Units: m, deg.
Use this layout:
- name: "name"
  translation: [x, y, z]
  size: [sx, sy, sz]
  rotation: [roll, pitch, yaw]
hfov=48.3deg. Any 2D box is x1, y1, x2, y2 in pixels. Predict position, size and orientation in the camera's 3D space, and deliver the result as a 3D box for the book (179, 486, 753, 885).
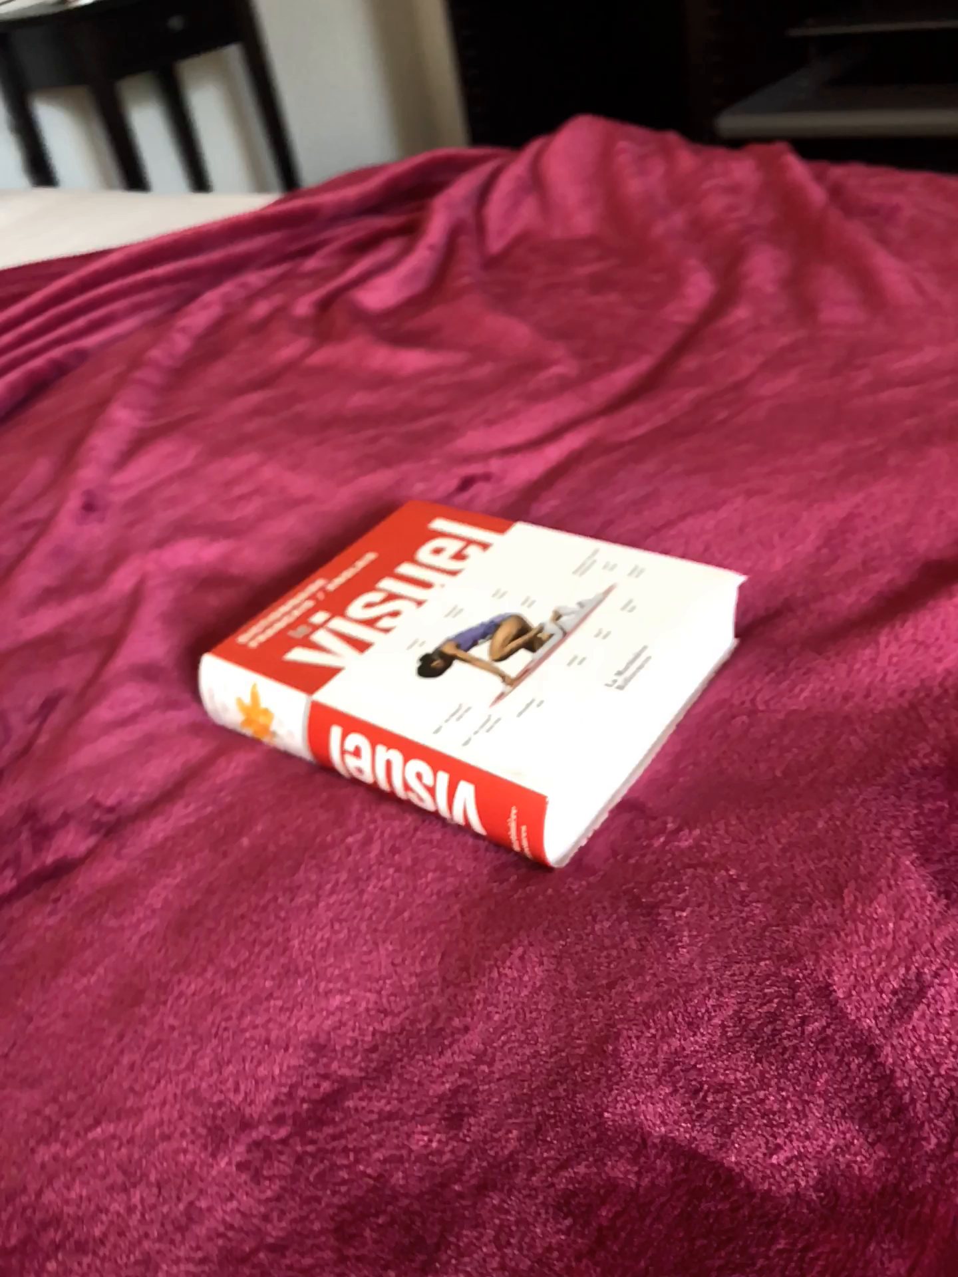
- name: "book"
  translation: [-0.005, 0.004, 0.430]
  size: [0.180, 0.039, 0.141]
  rotation: [18, 45, 35]
